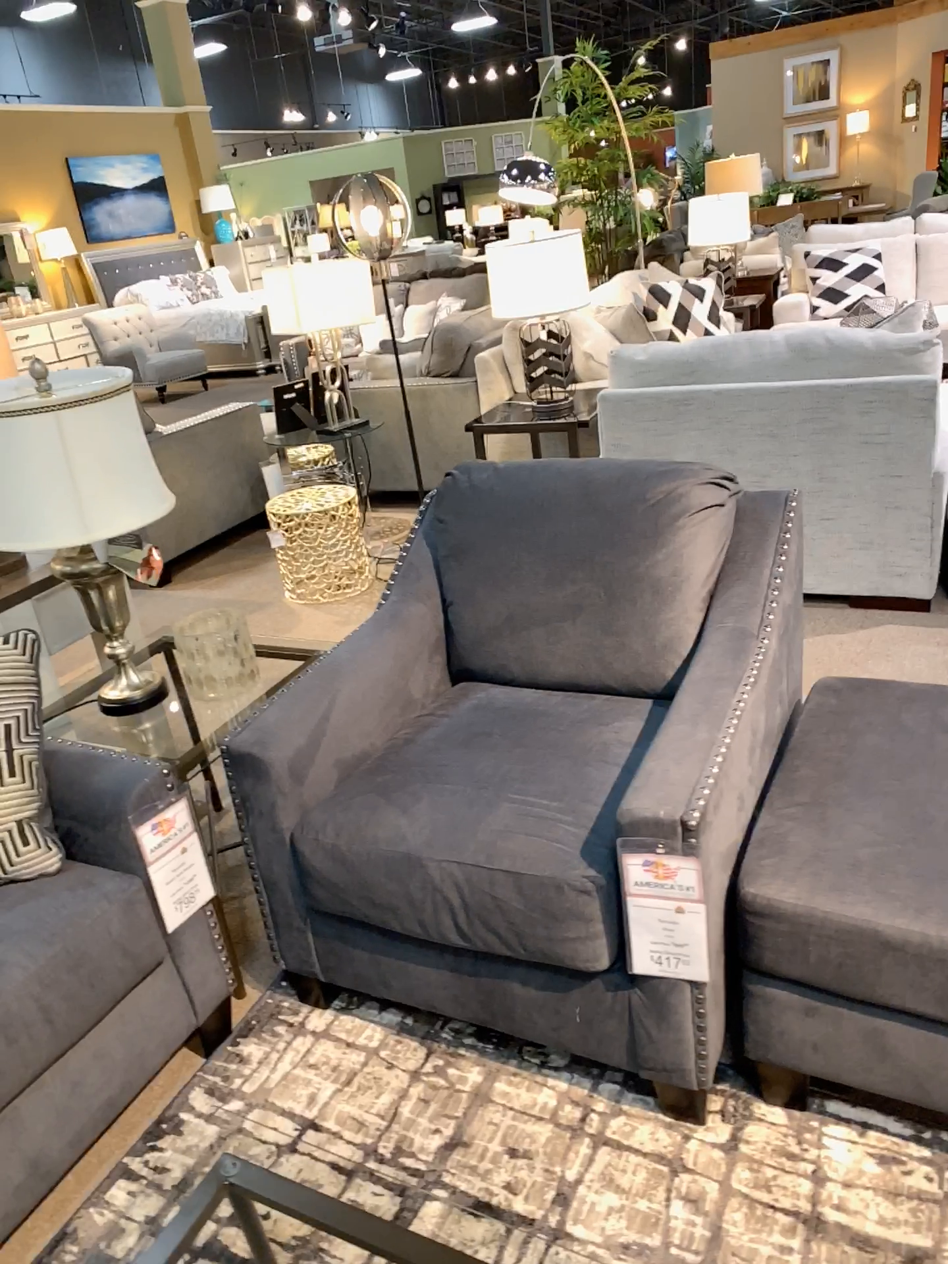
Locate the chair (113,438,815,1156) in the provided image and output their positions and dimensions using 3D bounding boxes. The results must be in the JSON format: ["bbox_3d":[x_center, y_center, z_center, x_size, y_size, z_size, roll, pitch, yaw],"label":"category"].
[{"bbox_3d":[0.101,0.168,1.868,0.921,0.840,0.960,5,26,27],"label":"chair"}]
